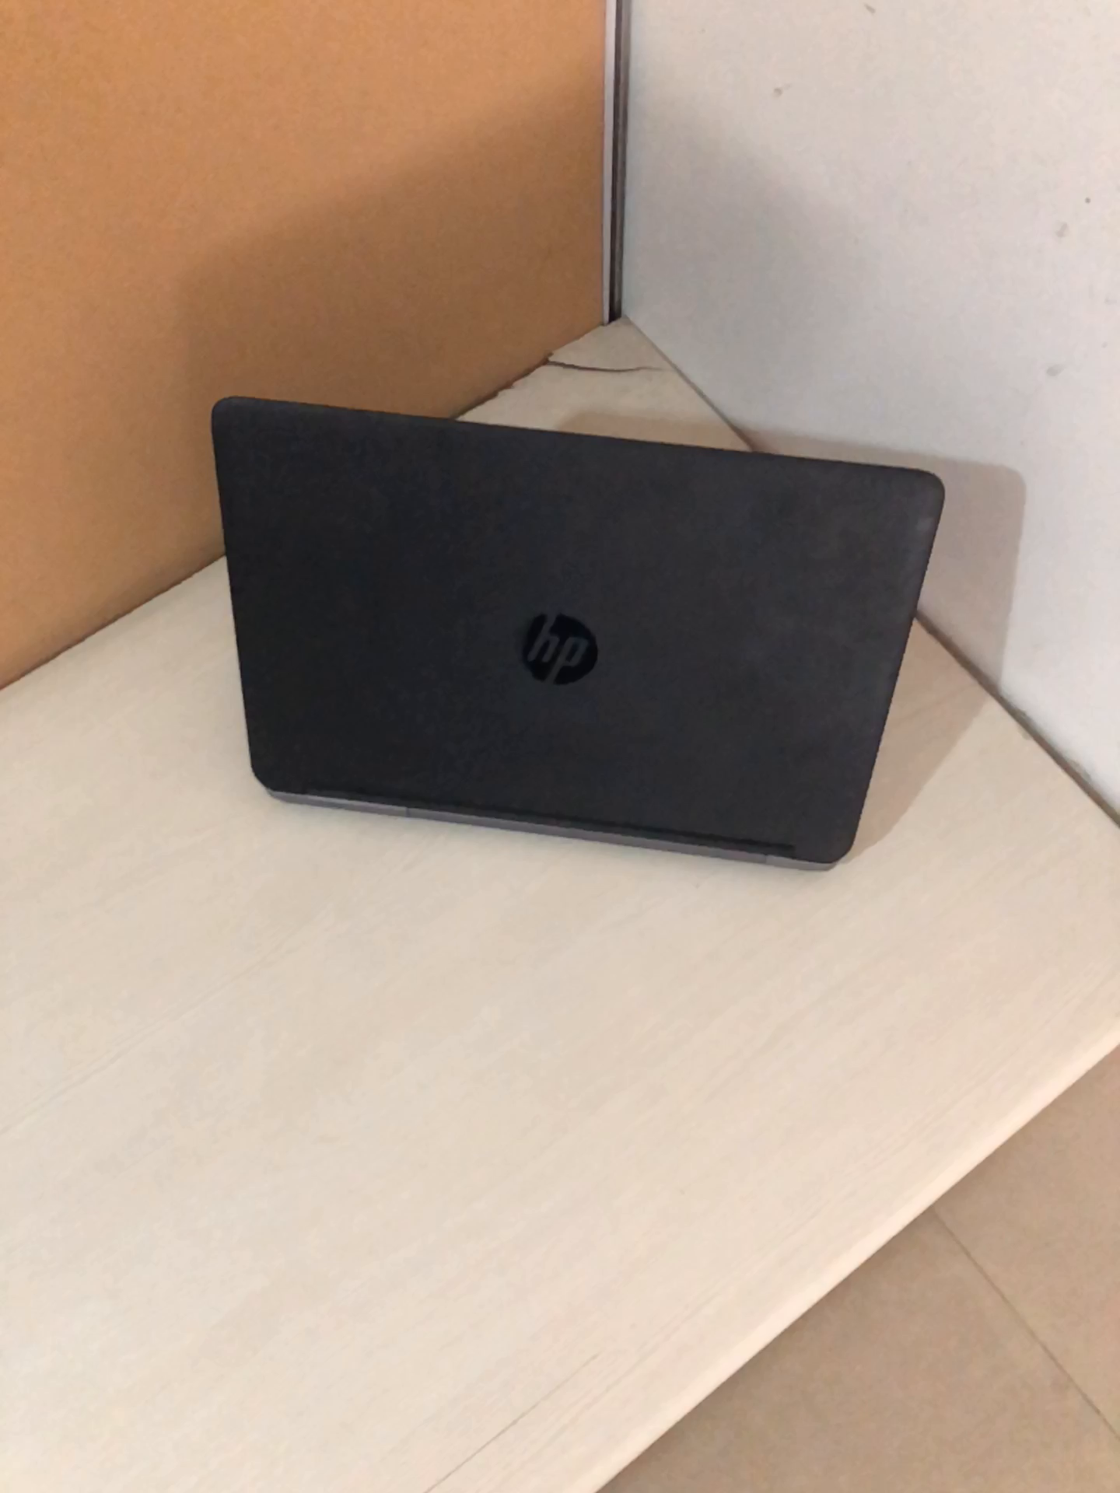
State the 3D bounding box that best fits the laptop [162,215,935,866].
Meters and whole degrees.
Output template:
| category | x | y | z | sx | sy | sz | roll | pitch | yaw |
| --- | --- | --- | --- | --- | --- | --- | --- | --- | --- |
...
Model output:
| category | x | y | z | sx | sy | sz | roll | pitch | yaw |
| --- | --- | --- | --- | --- | --- | --- | --- | --- | --- |
| laptop | 0.007 | -0.098 | 0.637 | 0.318 | 0.193 | 0.228 | 7 | 66 | 4 |
